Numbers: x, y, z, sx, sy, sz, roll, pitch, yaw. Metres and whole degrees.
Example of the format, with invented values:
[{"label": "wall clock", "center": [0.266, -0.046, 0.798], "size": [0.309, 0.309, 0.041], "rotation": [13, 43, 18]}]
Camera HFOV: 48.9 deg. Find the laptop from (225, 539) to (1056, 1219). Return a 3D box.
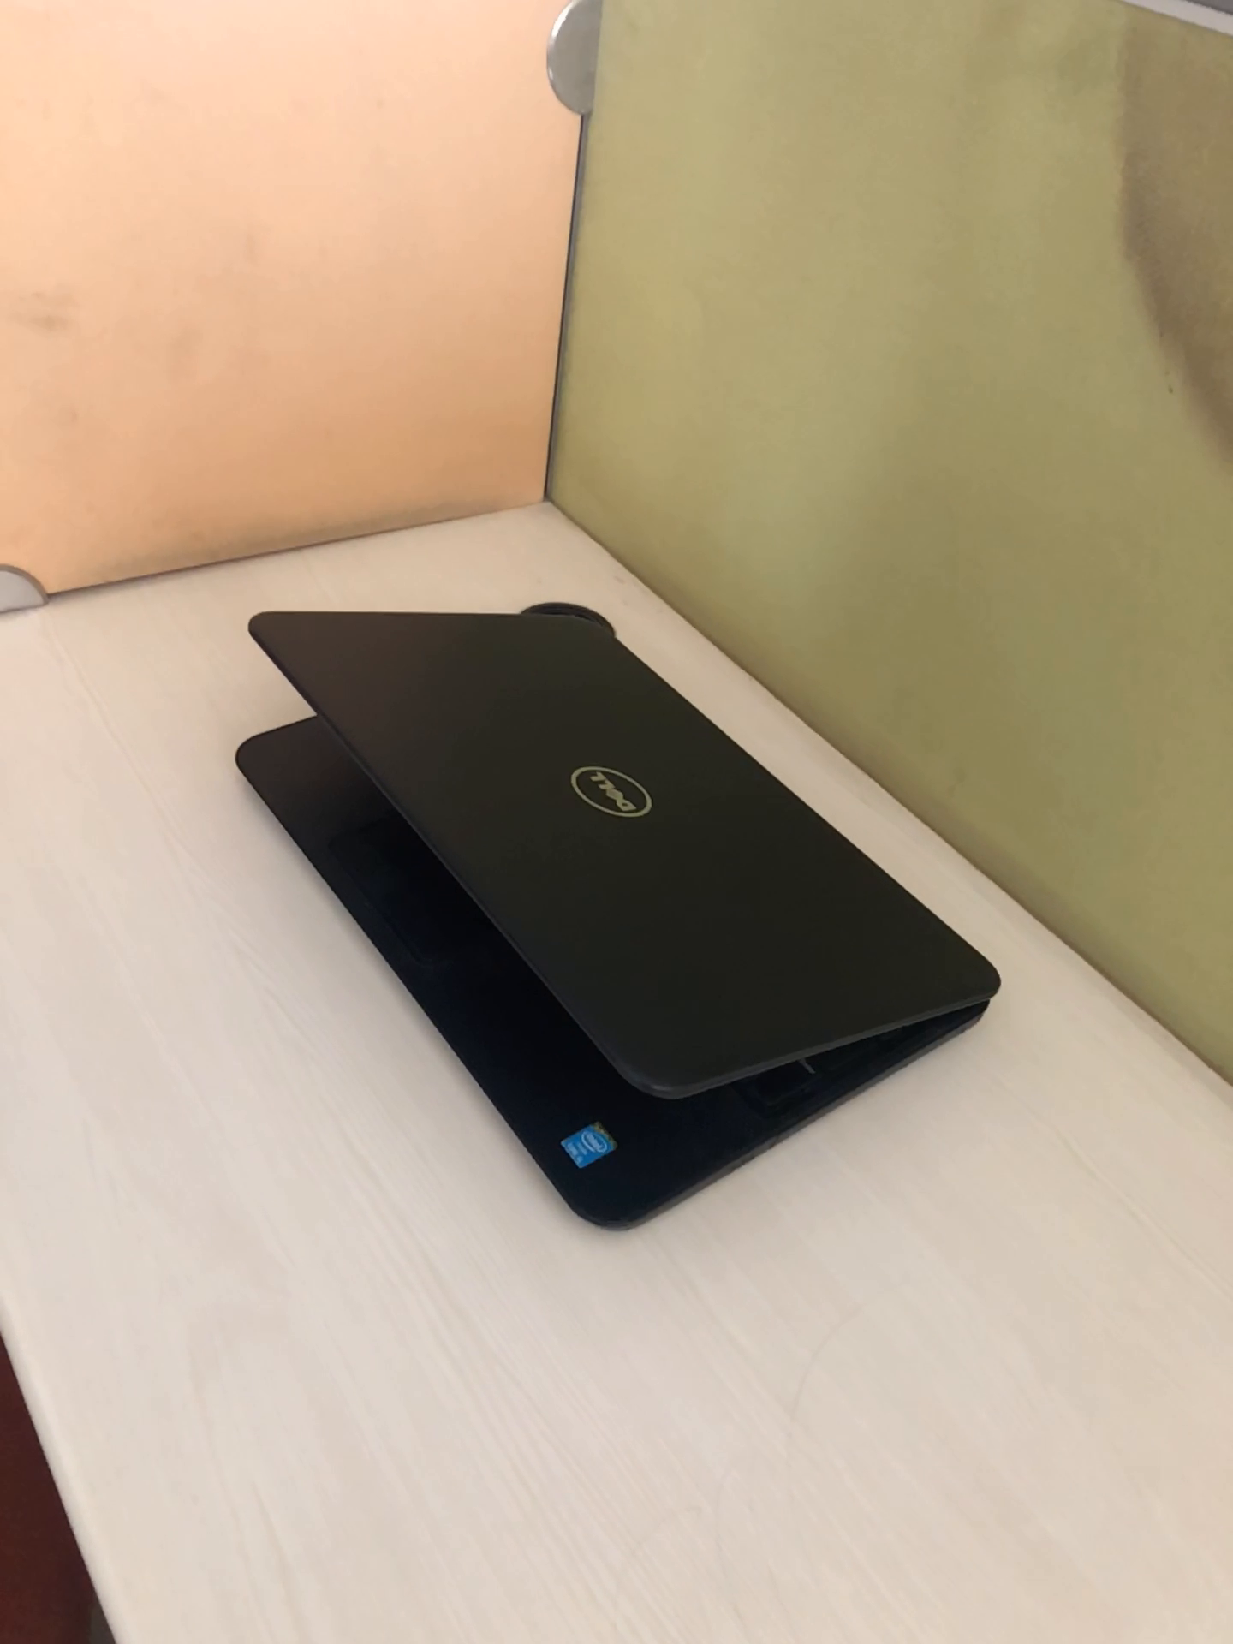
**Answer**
[{"label": "laptop", "center": [-0.005, -0.005, 0.695], "size": [0.247, 0.078, 0.354], "rotation": [-21, 48, -30]}]
